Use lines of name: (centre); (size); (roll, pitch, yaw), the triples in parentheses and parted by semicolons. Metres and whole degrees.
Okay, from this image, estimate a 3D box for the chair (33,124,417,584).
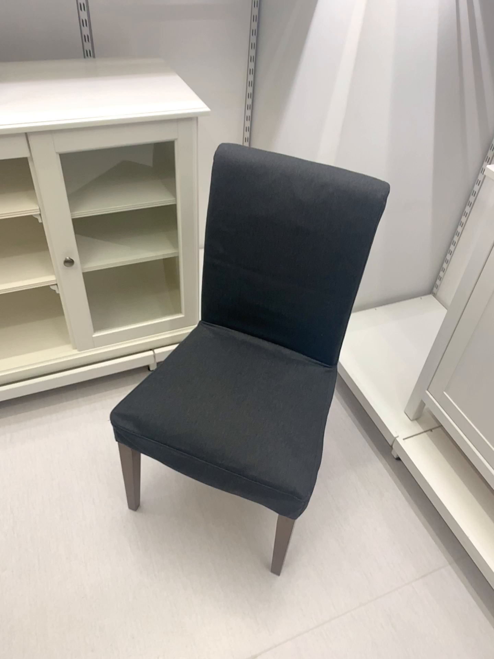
chair: (-0.014, 0.064, 1.264); (0.540, 0.837, 0.612); (18, 44, 14)
